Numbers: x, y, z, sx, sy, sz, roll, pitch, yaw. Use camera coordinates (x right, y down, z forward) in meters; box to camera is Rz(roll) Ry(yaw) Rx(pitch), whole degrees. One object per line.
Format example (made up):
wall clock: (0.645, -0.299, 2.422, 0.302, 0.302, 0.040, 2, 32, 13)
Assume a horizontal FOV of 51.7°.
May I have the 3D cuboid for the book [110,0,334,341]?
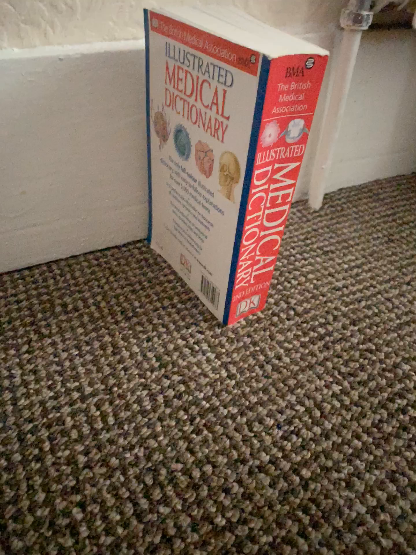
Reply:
book: (-0.009, -0.091, 0.344, 0.060, 0.198, 0.191, -17, 43, -23)
